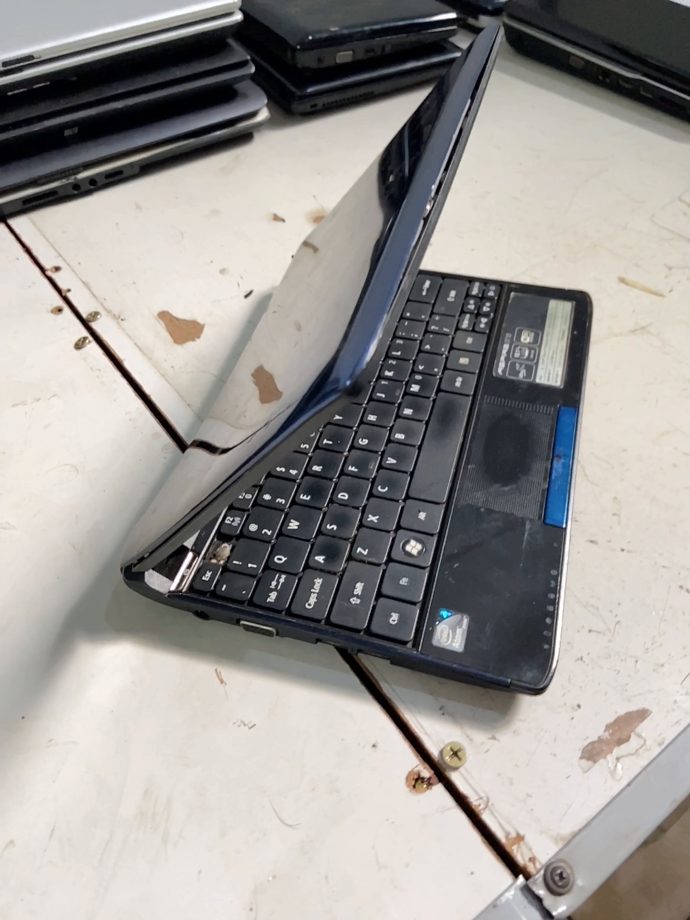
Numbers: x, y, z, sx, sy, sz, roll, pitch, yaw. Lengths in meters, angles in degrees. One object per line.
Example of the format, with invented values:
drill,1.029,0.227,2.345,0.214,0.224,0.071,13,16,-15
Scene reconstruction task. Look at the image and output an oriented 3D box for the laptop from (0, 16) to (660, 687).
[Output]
laptop,0.022,-0.068,0.302,0.171,0.131,0.245,11,50,12
